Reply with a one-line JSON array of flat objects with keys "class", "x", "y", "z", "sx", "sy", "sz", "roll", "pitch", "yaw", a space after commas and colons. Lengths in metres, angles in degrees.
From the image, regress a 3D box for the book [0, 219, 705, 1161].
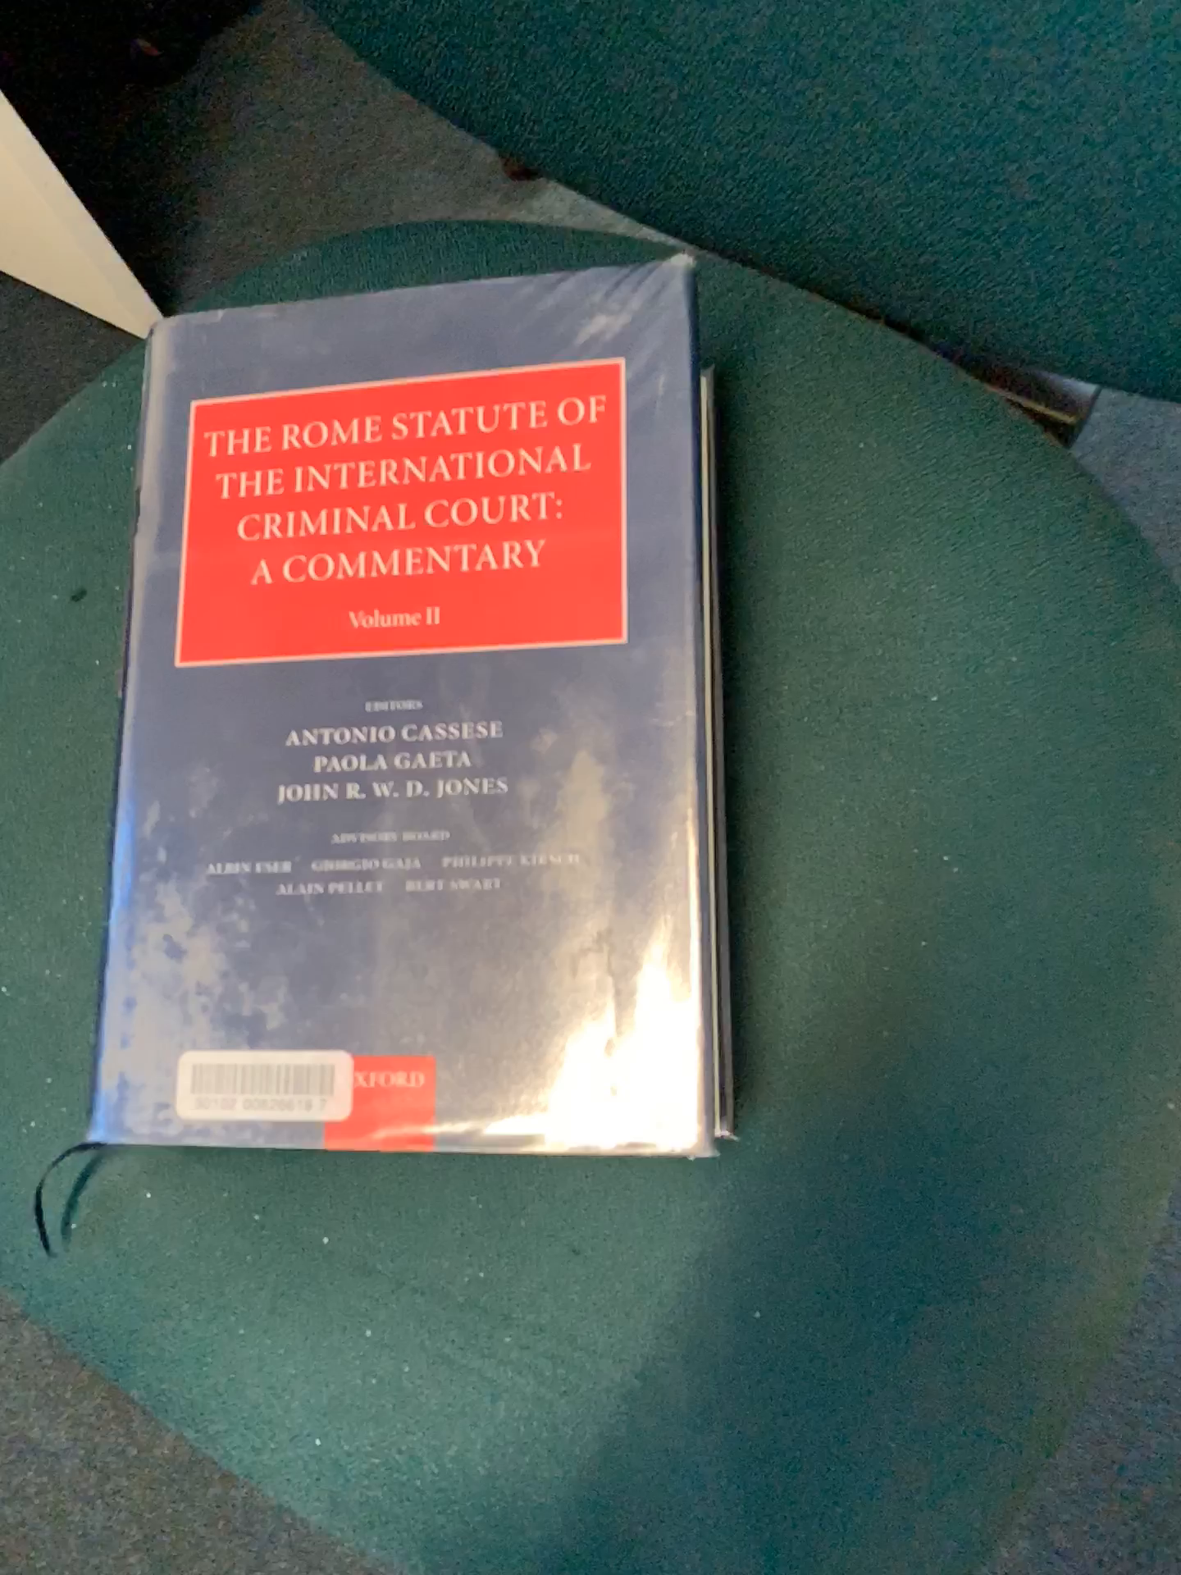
[{"class": "book", "x": -0.065, "y": -0.025, "z": 0.364, "sx": 0.188, "sy": 0.070, "sz": 0.256, "roll": -2, "pitch": 78, "yaw": 10}]
